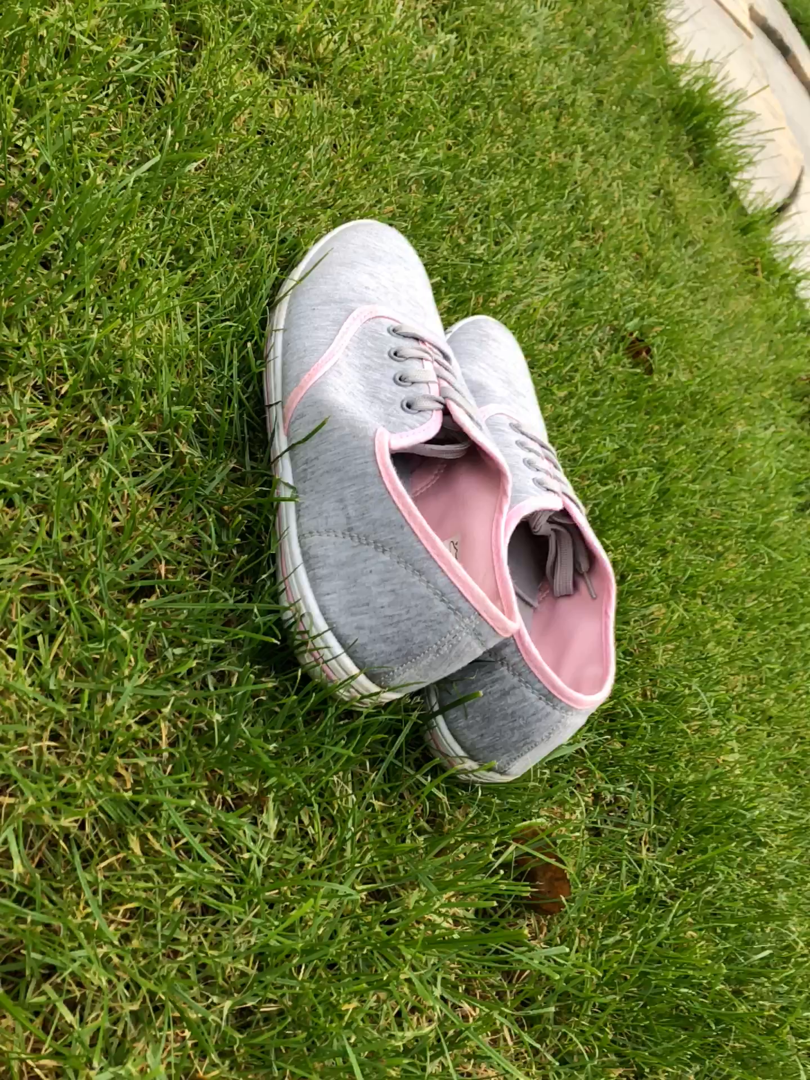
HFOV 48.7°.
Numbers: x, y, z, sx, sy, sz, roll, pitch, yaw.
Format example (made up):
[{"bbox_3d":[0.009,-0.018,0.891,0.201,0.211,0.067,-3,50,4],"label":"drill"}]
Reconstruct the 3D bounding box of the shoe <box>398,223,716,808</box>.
[{"bbox_3d":[0.069,-0.016,0.446,0.100,0.089,0.261,29,49,-35],"label":"shoe"}]

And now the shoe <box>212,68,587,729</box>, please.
[{"bbox_3d":[0.003,-0.066,0.390,0.100,0.089,0.261,29,49,-35],"label":"shoe"}]
